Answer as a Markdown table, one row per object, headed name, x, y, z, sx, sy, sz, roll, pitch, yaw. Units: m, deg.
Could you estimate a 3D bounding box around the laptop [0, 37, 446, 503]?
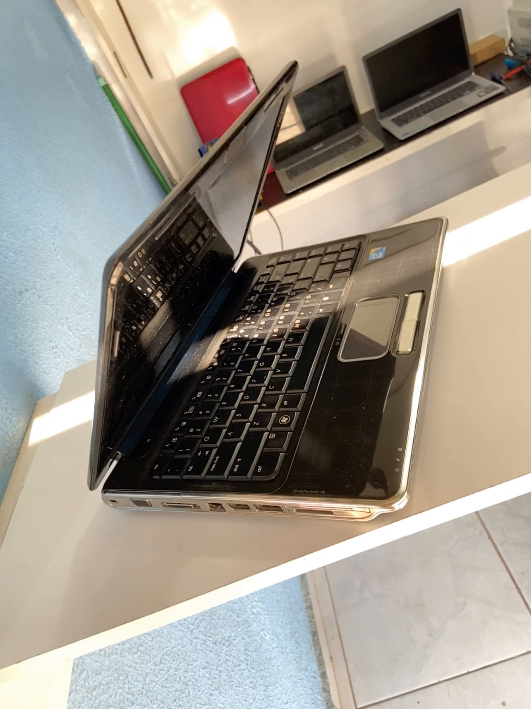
| name | x | y | z | sx | sy | sz | roll | pitch | yaw |
| --- | --- | --- | --- | --- | --- | --- | --- | --- | --- |
| laptop | -0.009 | -0.077 | 0.426 | 0.225 | 0.165 | 0.326 | -7 | 38 | 29 |
